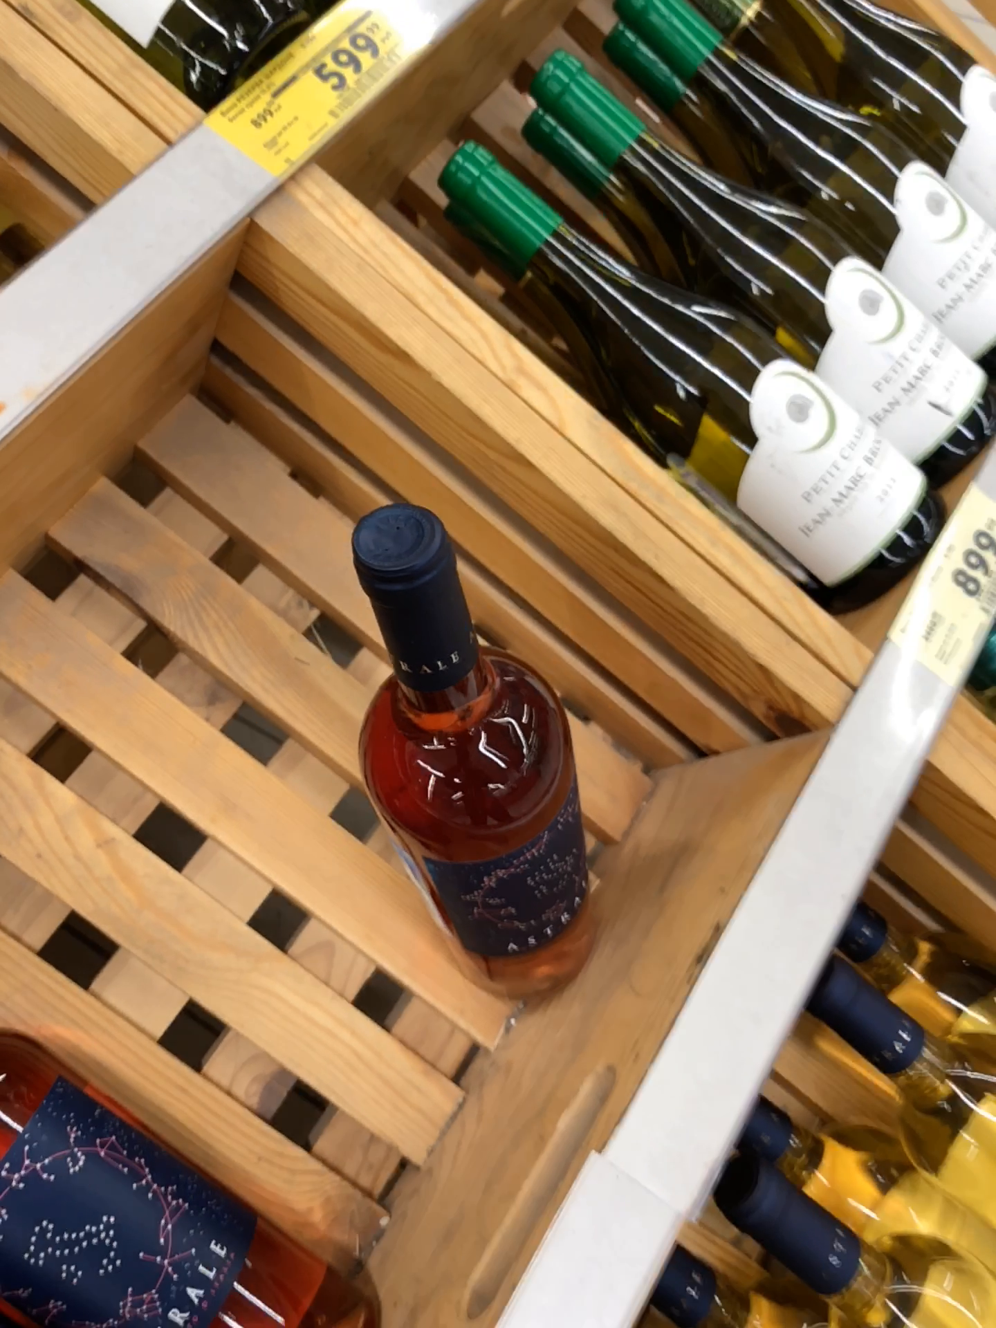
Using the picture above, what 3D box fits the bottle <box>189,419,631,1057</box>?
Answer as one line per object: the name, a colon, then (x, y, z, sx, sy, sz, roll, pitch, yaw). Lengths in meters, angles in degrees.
bottle: (-0.010, 0.053, 0.414, 0.080, 0.289, 0.080, -4, 56, 6)
